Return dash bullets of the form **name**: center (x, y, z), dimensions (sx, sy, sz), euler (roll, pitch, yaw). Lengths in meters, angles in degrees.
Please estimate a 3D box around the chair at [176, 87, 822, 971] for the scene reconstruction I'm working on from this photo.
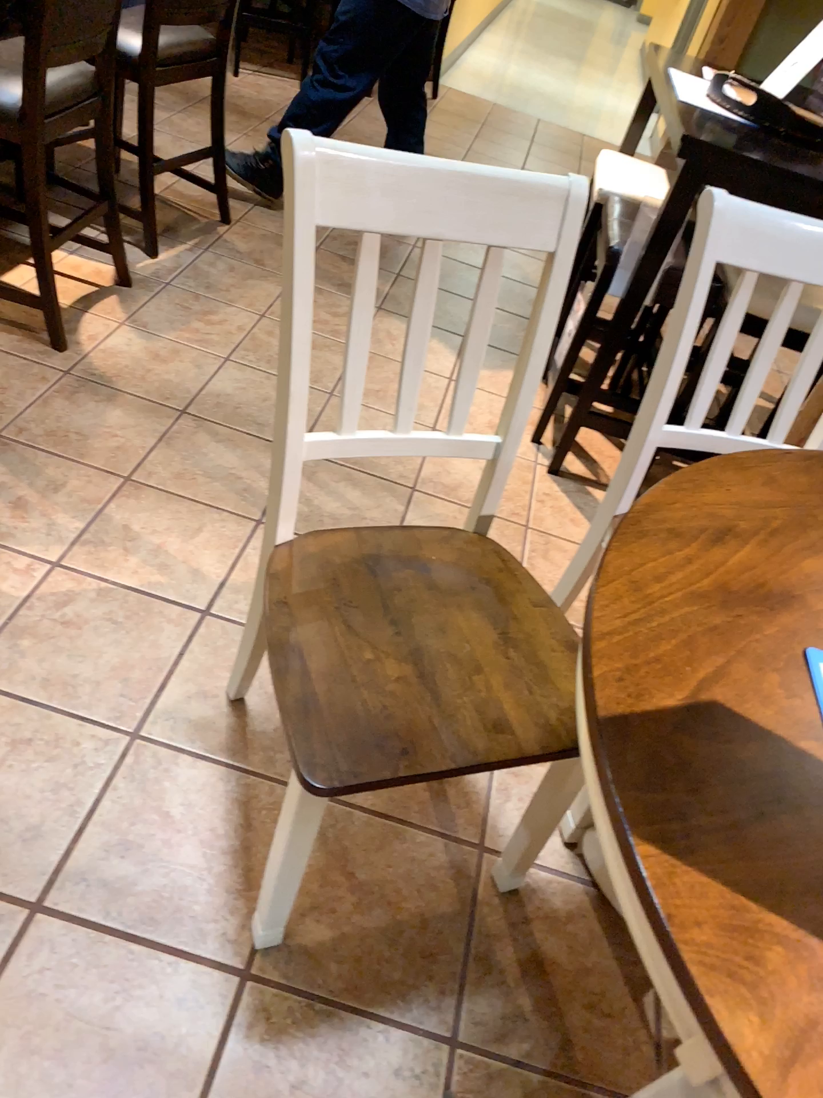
- **chair**: center (0.002, 0.008, 1.124), dimensions (0.491, 0.890, 0.635), euler (-1, 44, -23)

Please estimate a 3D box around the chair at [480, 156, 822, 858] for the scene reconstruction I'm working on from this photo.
- **chair**: center (0.542, -0.020, 1.371), dimensions (0.490, 0.900, 0.635), euler (5, 42, -16)
